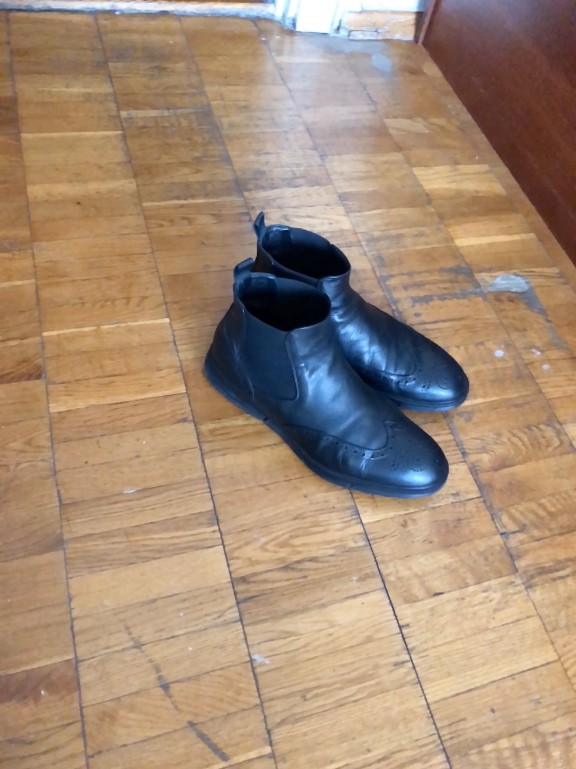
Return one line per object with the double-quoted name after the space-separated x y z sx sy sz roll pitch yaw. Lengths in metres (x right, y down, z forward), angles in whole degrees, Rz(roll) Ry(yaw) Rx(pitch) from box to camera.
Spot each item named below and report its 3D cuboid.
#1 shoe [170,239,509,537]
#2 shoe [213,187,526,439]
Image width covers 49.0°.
0.038 0.003 0.636 0.300 0.139 0.111 30 56 10 "shoe"
0.081 -0.077 0.702 0.300 0.139 0.111 24 55 5 "shoe"
